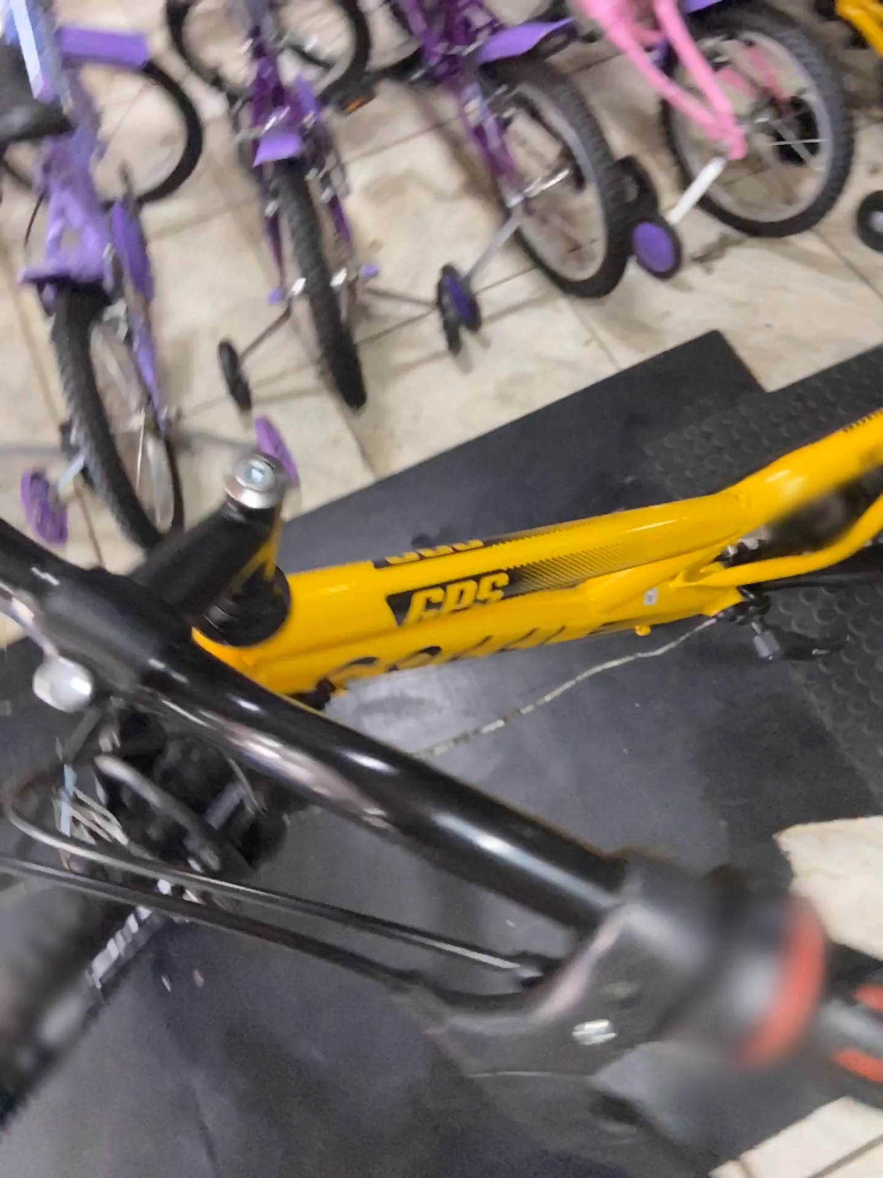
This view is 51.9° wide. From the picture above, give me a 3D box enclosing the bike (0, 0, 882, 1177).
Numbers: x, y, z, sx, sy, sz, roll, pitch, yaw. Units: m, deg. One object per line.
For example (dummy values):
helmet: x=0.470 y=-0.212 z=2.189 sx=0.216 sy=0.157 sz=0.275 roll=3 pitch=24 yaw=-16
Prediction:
bike: x=0.224 y=-0.041 z=0.622 sx=1.521 sy=0.989 sz=0.476 roll=-29 pitch=62 yaw=-11
